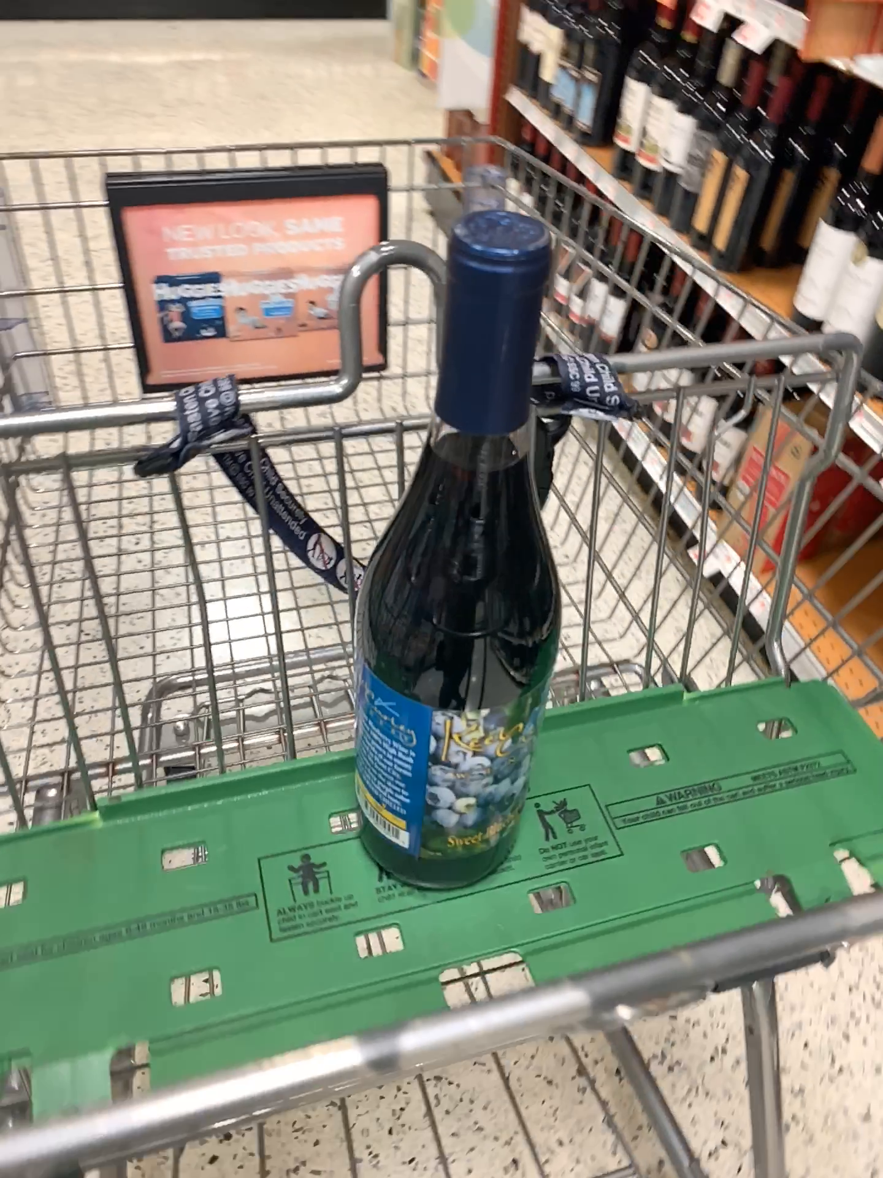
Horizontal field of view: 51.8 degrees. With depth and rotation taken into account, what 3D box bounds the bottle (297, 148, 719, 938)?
[{"bbox_3d":[0.009,0.008,0.332,0.080,0.286,0.075,2,43,-2],"label":"bottle"}]
